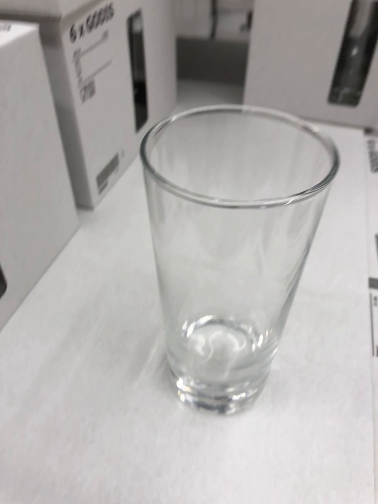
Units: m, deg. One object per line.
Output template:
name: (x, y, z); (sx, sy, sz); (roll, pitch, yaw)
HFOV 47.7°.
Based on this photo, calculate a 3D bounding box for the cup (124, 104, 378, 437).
cup: (0.016, 0.014, 0.209); (0.080, 0.140, 0.080); (0, 42, 0)
